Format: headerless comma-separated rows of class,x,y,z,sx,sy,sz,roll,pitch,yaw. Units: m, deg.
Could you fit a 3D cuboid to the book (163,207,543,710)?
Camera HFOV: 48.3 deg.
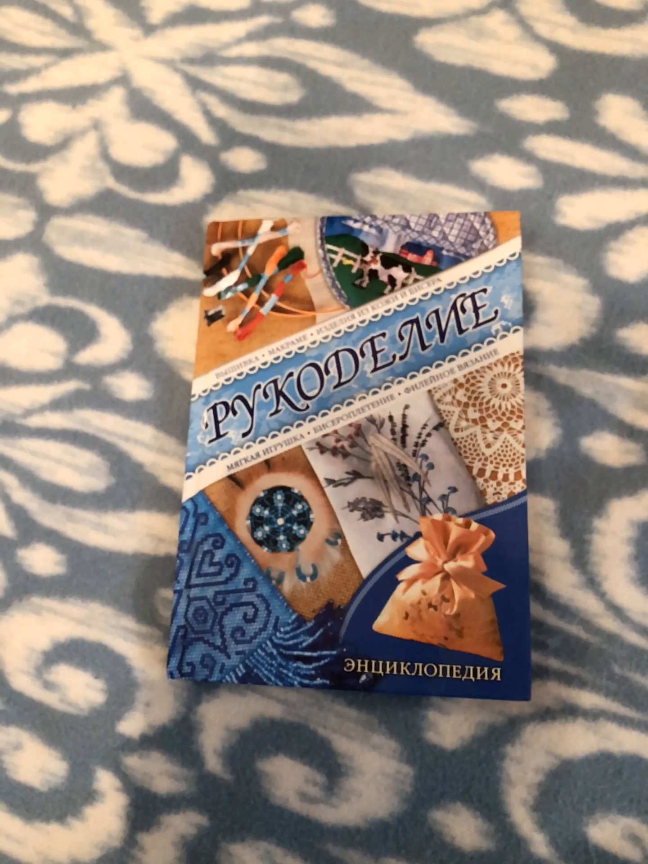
book,0.015,0.005,0.356,0.168,0.020,0.237,0,76,9
